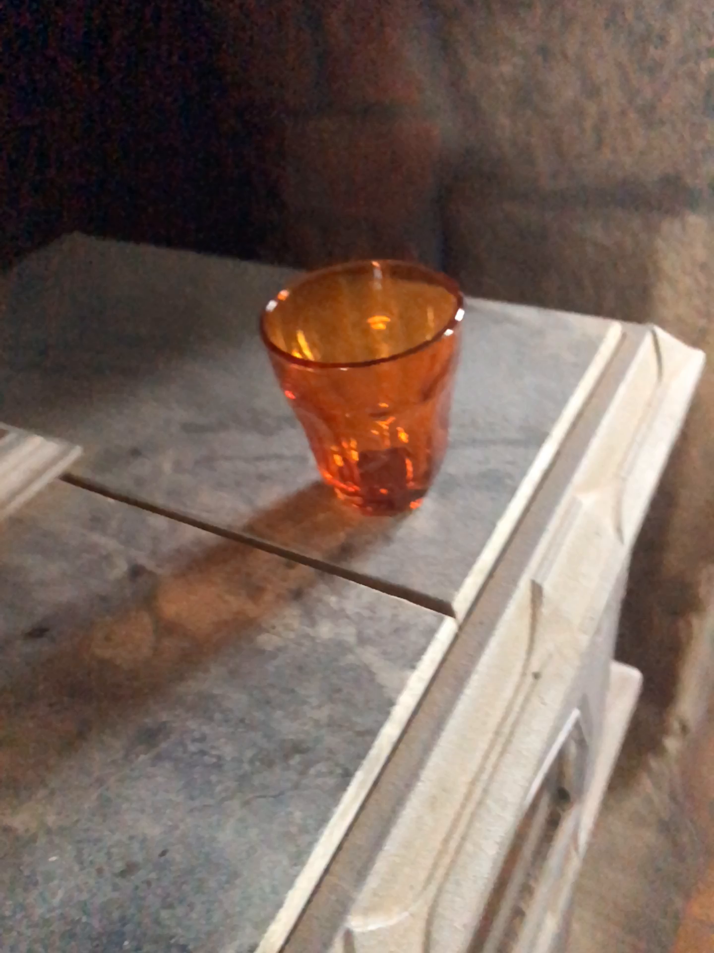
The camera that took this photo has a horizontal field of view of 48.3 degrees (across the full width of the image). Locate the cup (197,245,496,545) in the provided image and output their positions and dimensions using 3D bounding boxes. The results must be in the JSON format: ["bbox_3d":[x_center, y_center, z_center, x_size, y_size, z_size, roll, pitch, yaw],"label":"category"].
[{"bbox_3d":[0.002,-0.035,0.309,0.080,0.070,0.081,-5,41,4],"label":"cup"}]
